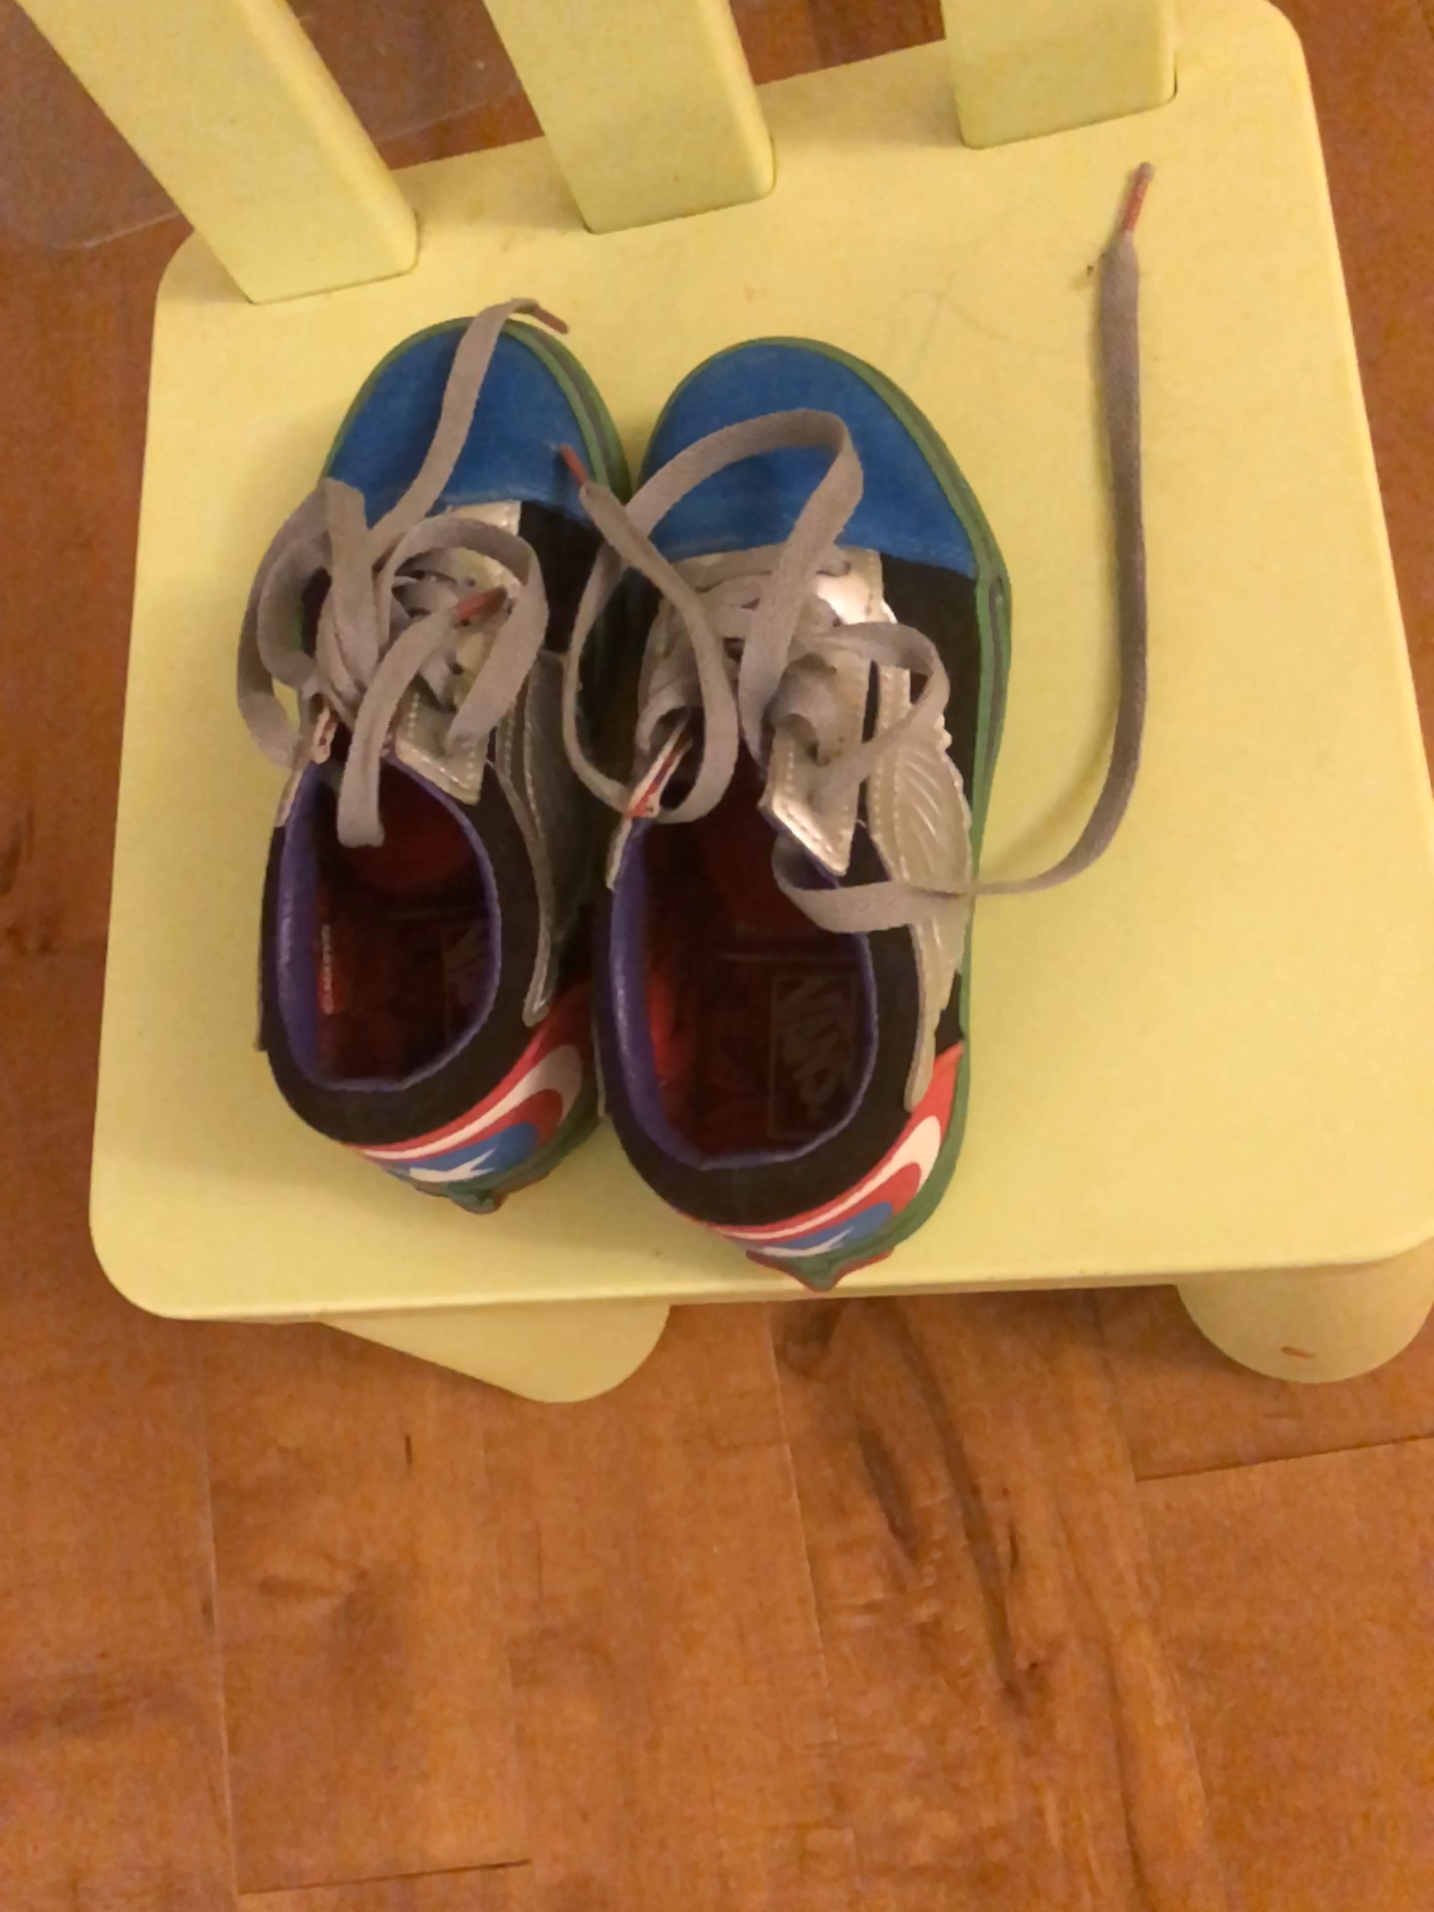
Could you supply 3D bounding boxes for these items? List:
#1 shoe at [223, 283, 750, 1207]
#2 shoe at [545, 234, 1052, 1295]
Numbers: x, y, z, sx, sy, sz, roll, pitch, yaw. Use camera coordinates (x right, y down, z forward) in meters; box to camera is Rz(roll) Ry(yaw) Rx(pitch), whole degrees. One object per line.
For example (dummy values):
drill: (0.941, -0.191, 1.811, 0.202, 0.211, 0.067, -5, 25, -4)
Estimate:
shoe: (-0.047, -0.041, 0.369, 0.090, 0.080, 0.190, -4, 76, 15)
shoe: (0.018, -0.031, 0.314, 0.080, 0.070, 0.190, -4, 76, 15)
